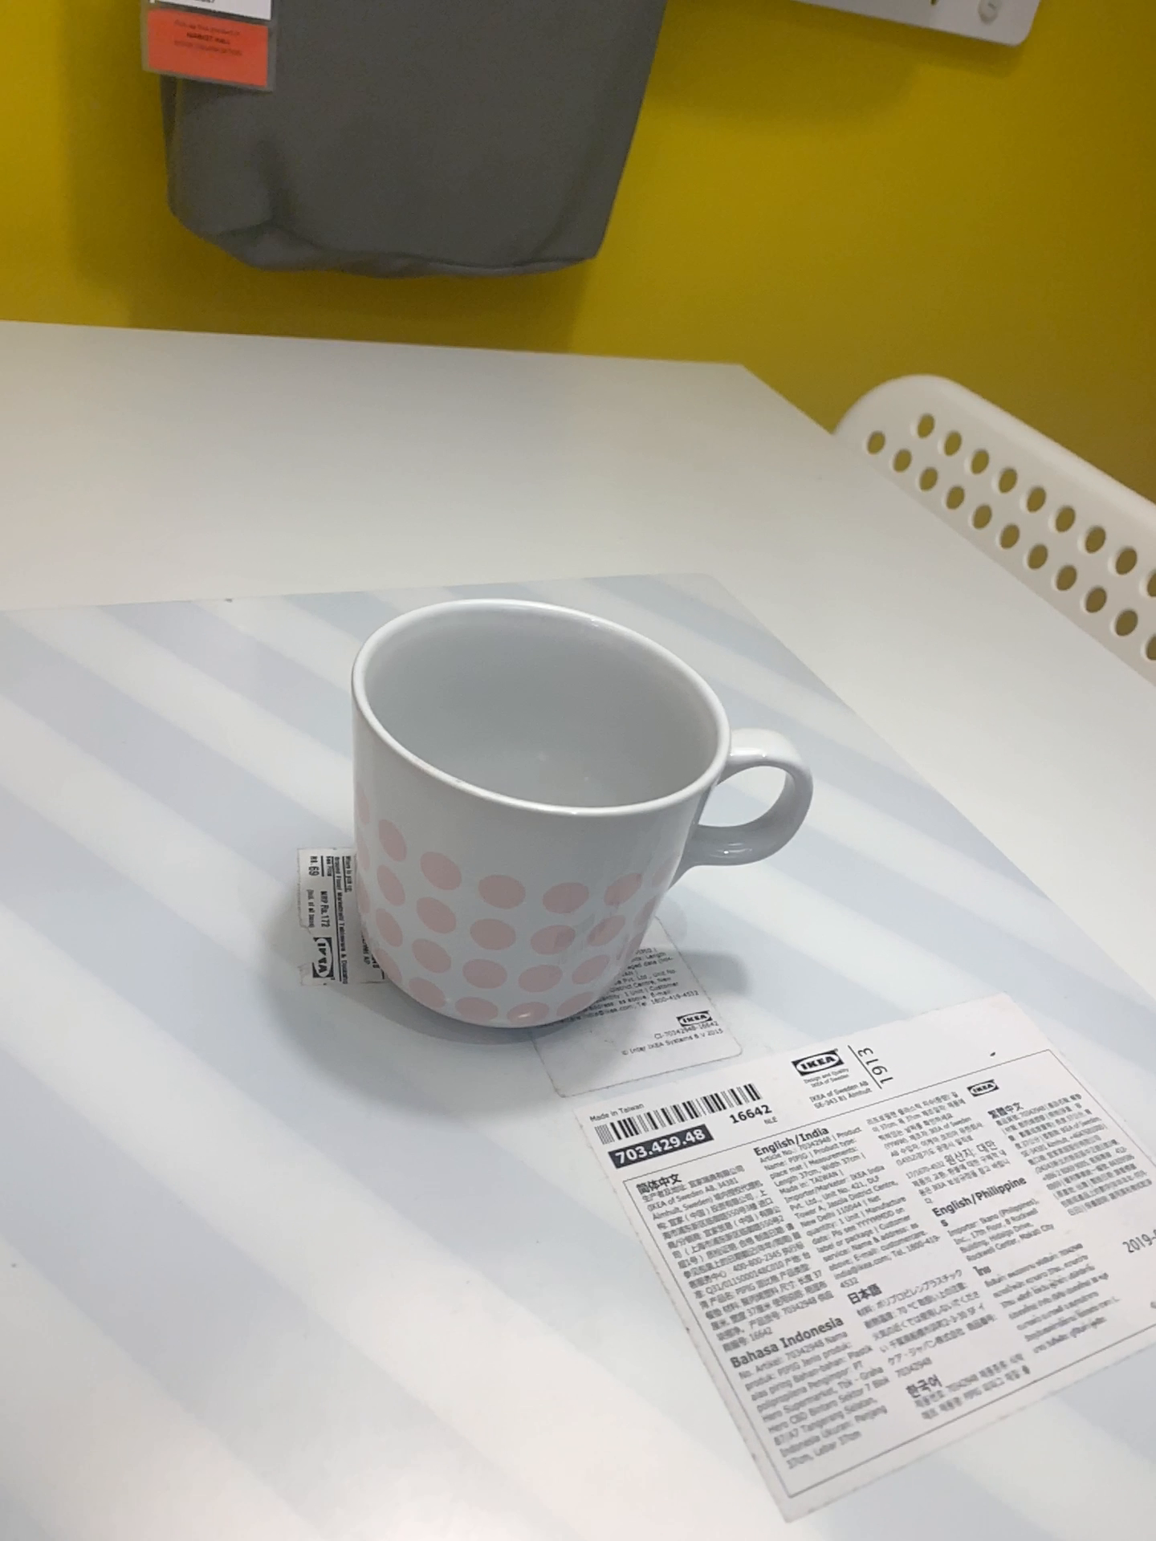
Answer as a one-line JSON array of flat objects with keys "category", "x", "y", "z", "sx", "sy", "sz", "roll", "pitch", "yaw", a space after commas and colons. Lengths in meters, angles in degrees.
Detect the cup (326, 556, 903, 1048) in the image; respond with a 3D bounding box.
[{"category": "cup", "x": 0.000, "y": 0.007, "z": 0.288, "sx": 0.110, "sy": 0.080, "sz": 0.080, "roll": 1, "pitch": 37, "yaw": -16}]
